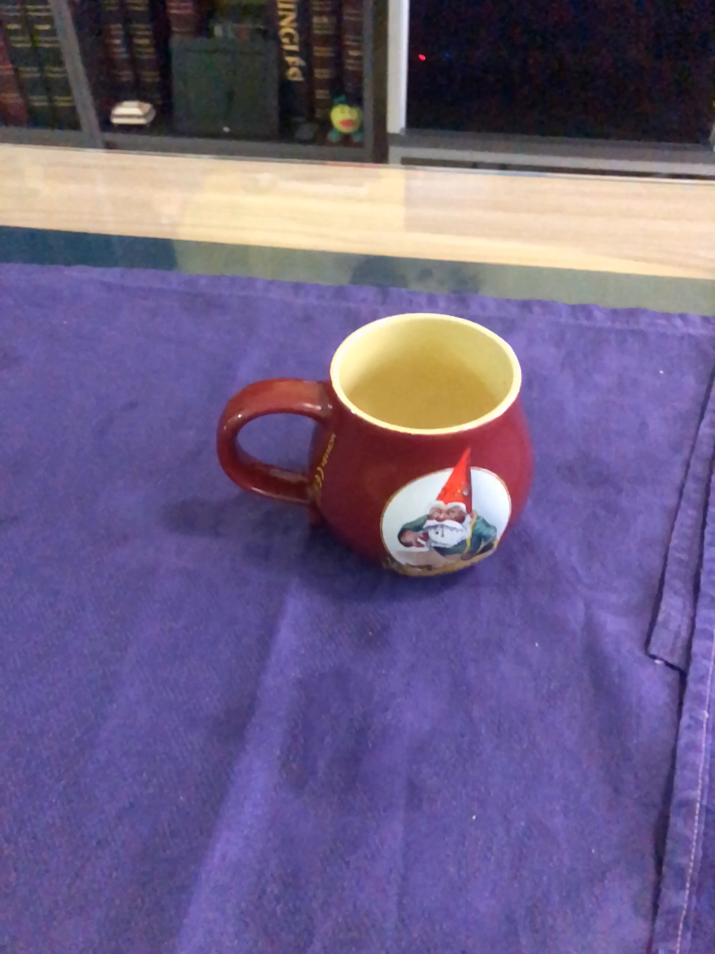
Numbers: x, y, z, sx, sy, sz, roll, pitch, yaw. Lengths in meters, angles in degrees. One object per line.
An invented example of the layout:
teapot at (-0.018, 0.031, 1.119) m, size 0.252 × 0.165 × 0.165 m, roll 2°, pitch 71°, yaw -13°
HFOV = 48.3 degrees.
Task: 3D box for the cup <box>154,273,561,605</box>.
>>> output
cup at (0.001, -0.013, 0.295) m, size 0.120 × 0.090 × 0.080 m, roll -1°, pitch 46°, yaw 1°
